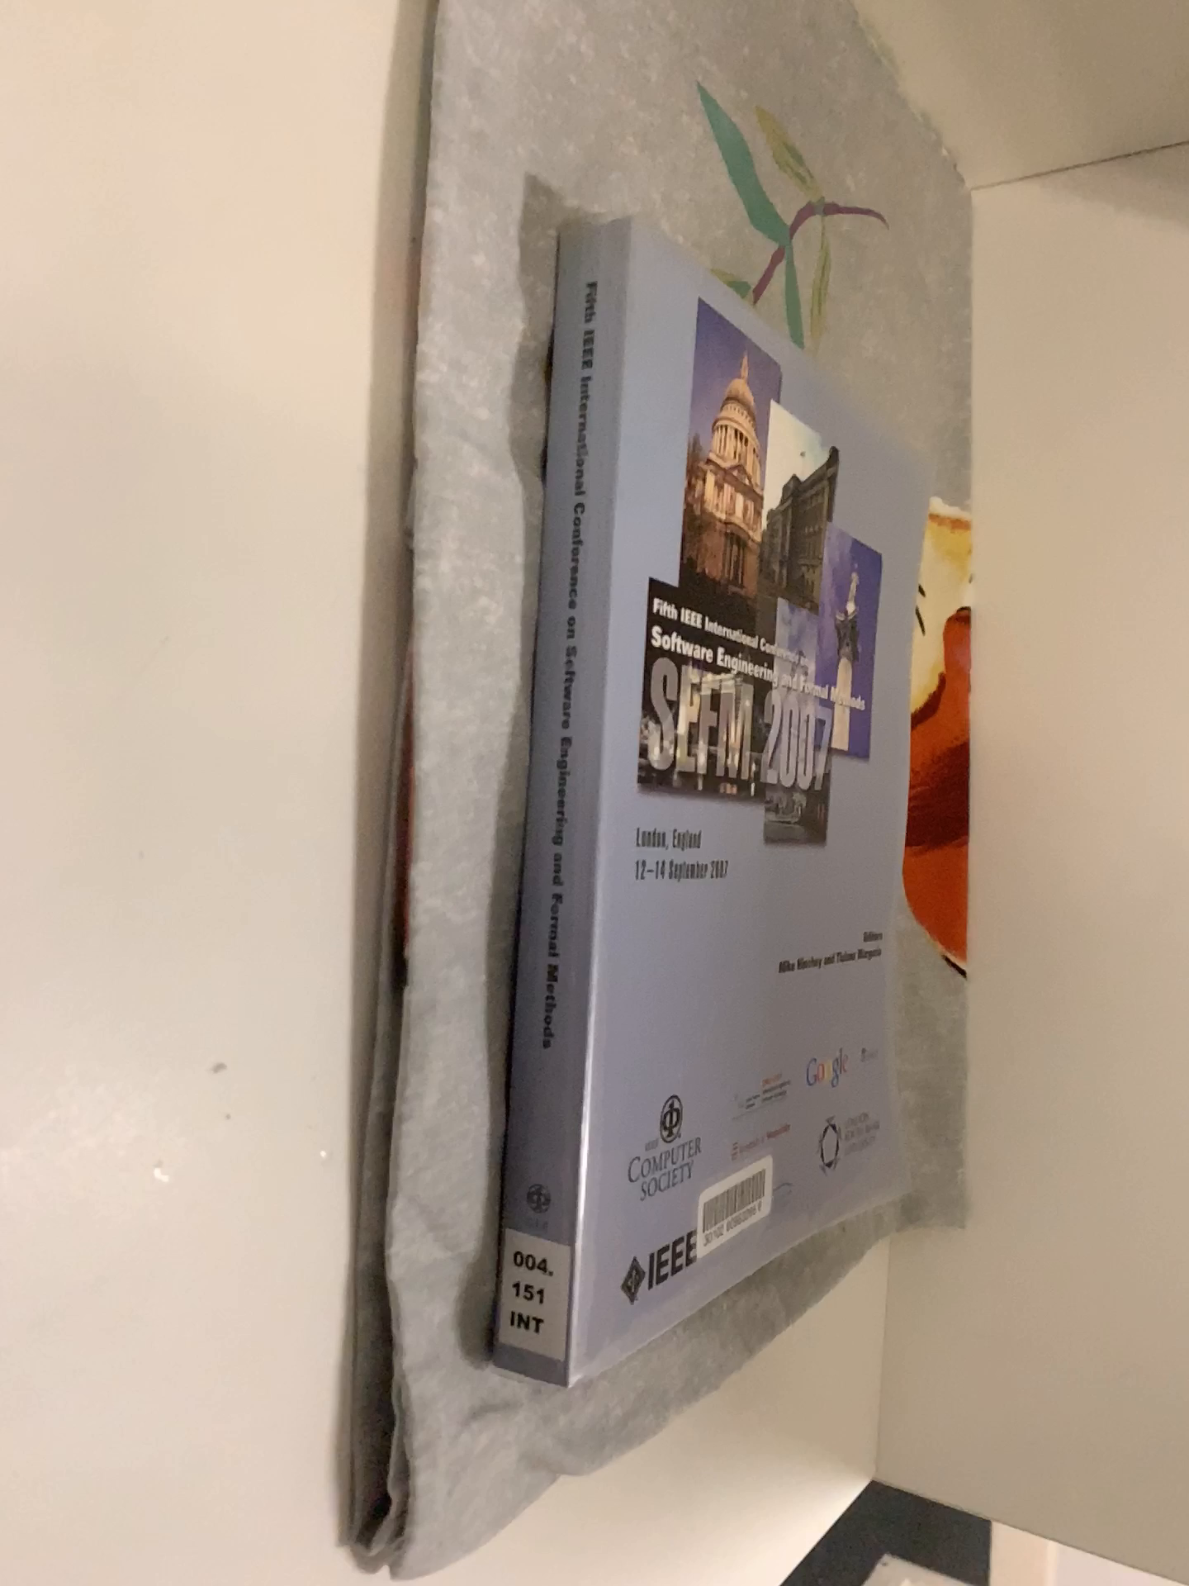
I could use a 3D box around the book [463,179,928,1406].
[{"bbox_3d":[0.047,0.003,0.370,0.211,0.030,0.274,7,86,-58],"label":"book"}]
